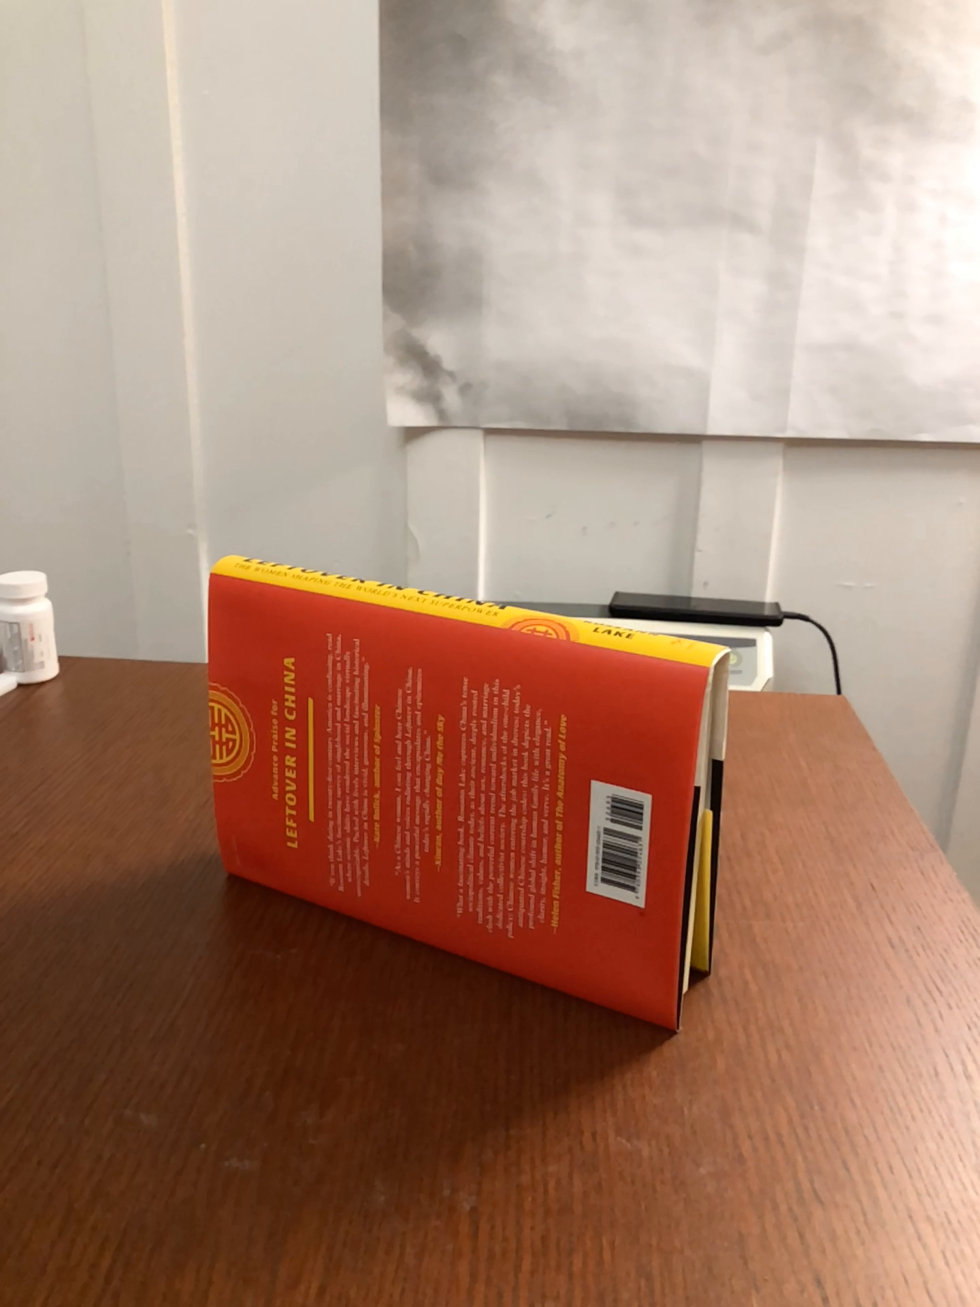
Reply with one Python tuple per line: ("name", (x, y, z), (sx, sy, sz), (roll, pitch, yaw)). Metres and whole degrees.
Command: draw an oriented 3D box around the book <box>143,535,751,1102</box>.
("book", (-0.030, 0.058, 0.478), (0.260, 0.179, 0.060), (12, 21, 27))
